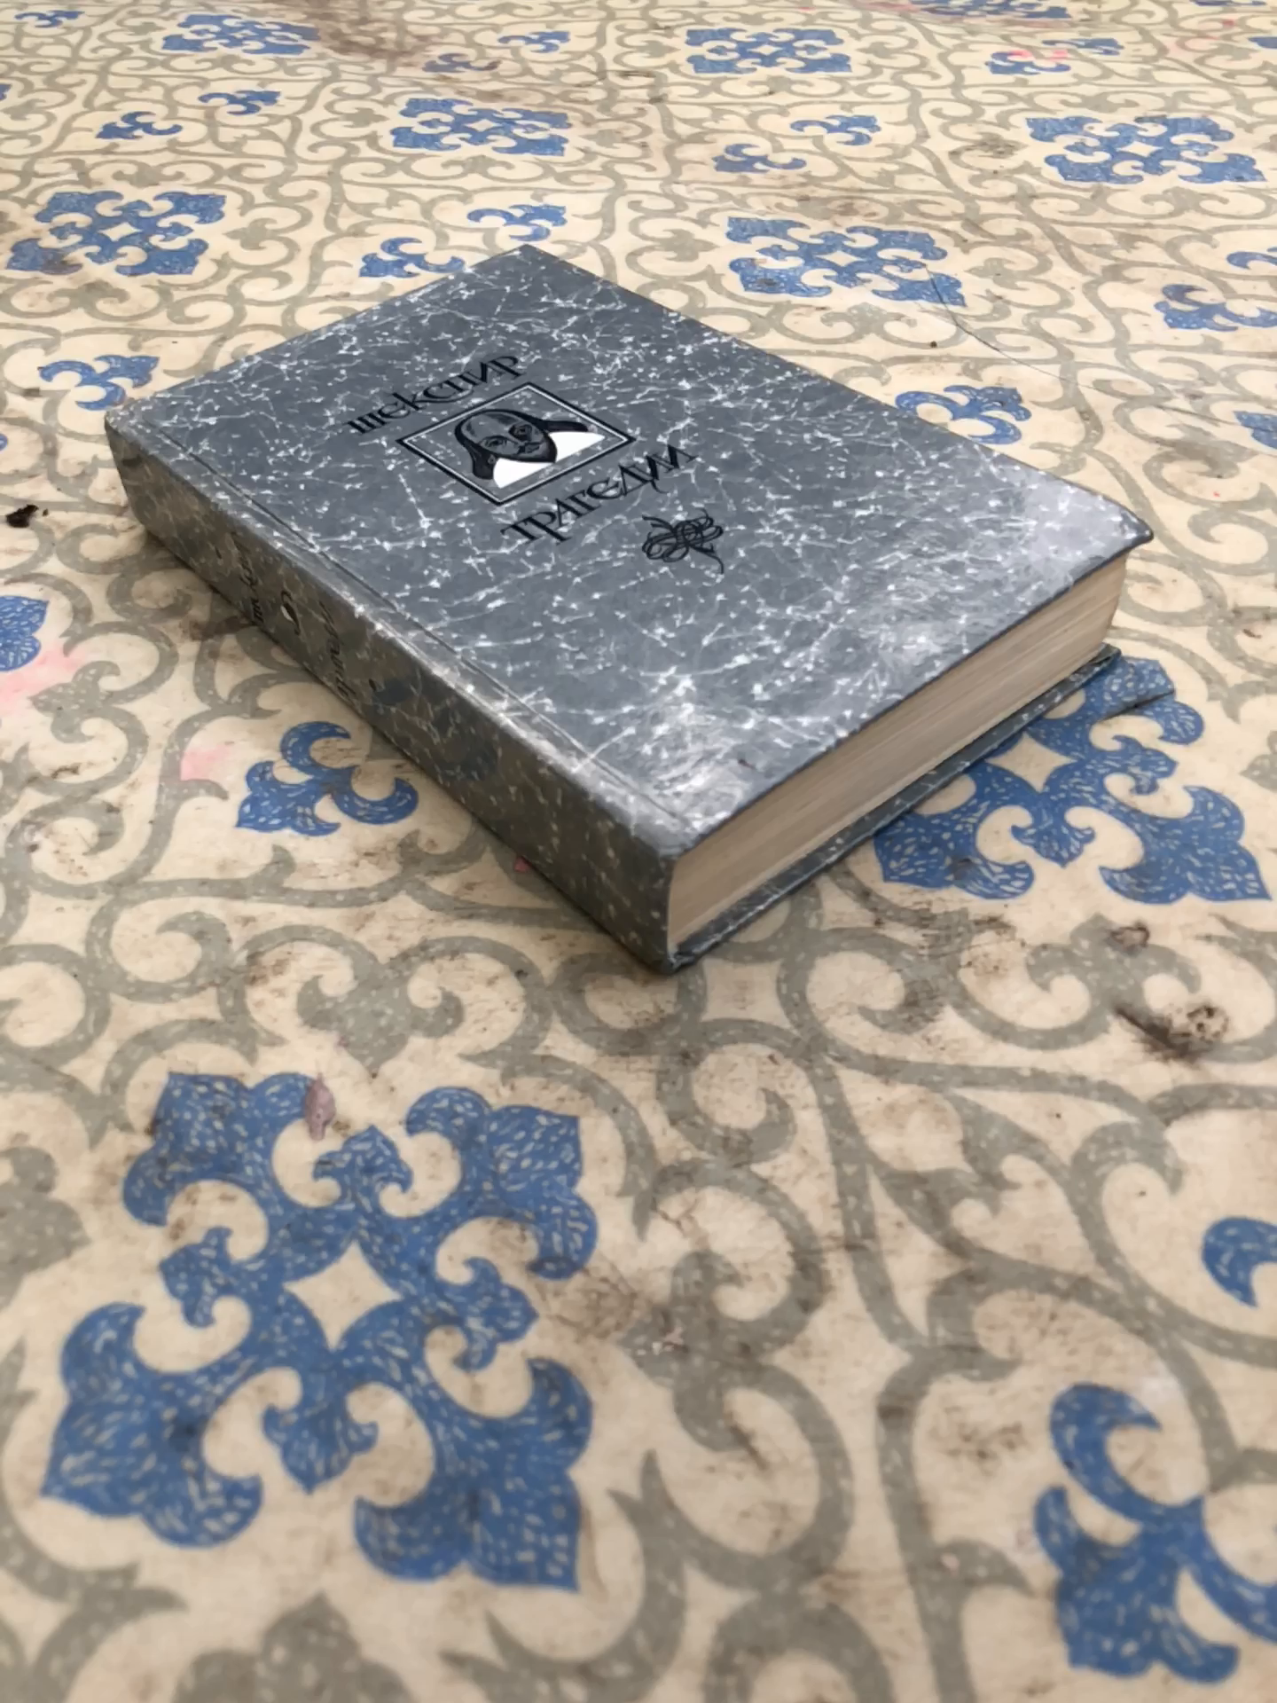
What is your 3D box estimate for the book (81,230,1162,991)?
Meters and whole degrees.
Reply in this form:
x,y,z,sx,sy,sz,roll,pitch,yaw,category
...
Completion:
x,y,z,sx,sy,sz,roll,pitch,yaw,category
-0.013,-0.075,0.321,0.134,0.033,0.207,-33,53,-26,book
